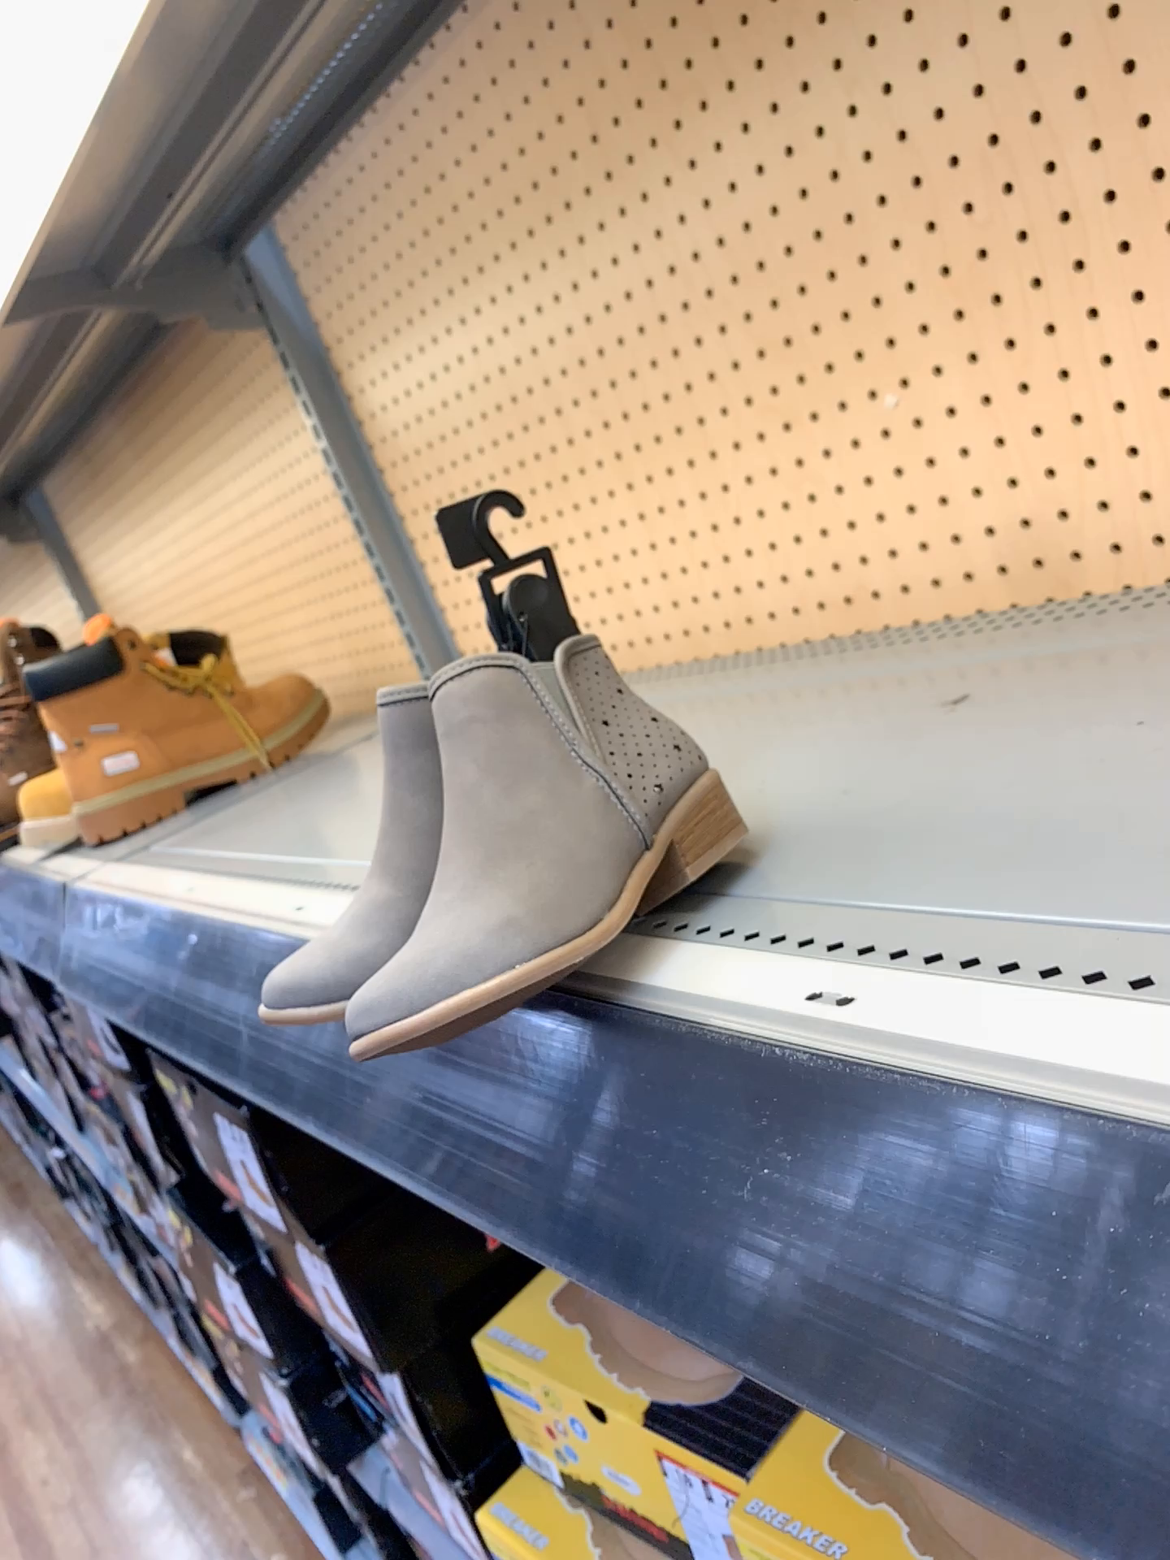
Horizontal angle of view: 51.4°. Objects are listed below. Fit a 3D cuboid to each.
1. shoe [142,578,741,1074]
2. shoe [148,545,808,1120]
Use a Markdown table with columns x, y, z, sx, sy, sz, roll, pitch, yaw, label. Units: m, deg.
| x | y | z | sx | sy | sz | roll | pitch | yaw | label |
| --- | --- | --- | --- | --- | --- | --- | --- | --- | --- |
| -0.057 | 0.011 | 0.482 | 0.196 | 0.103 | 0.087 | -27 | 11 | -18 | shoe |
| -0.030 | 0.012 | 0.421 | 0.186 | 0.113 | 0.074 | -31 | 0 | -36 | shoe |
